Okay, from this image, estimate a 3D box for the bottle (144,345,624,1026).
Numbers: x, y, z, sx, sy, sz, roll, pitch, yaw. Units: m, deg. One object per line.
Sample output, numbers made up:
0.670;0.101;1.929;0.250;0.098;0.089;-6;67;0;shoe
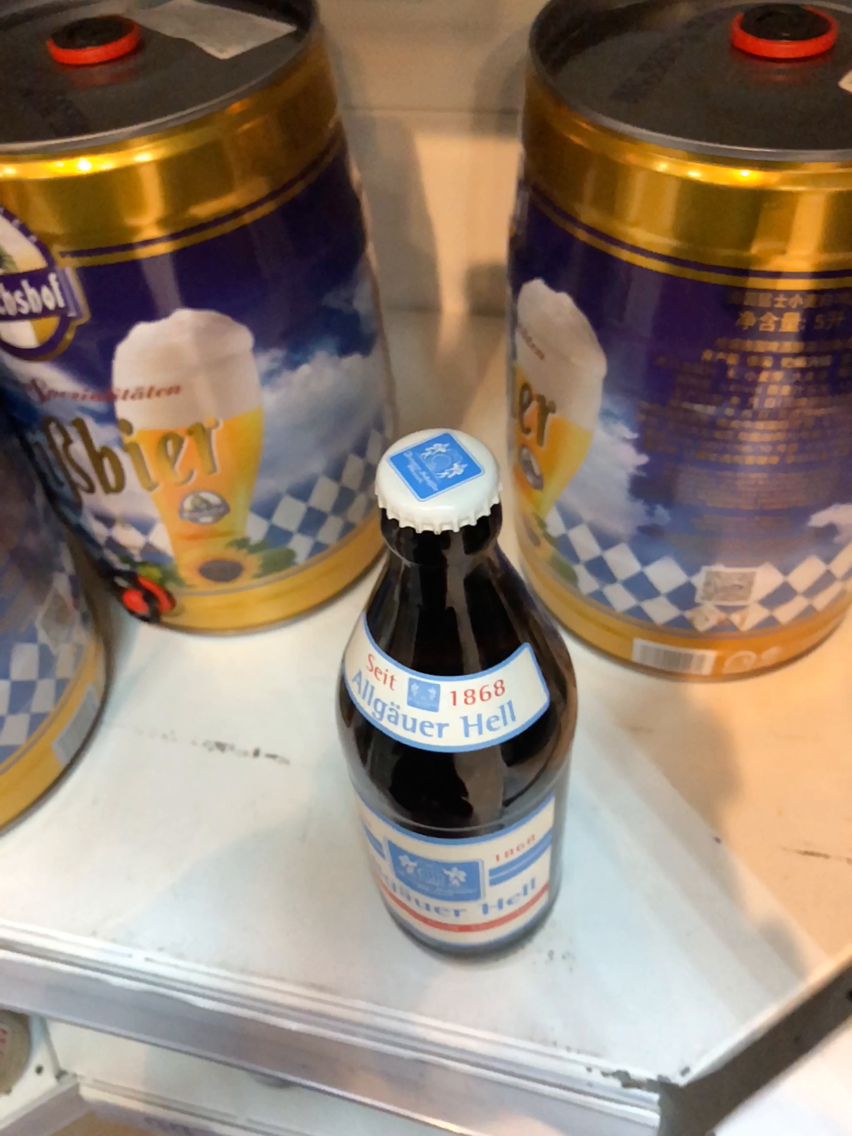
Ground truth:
0.005;0.052;0.281;0.080;0.219;0.080;-3;50;4;bottle
